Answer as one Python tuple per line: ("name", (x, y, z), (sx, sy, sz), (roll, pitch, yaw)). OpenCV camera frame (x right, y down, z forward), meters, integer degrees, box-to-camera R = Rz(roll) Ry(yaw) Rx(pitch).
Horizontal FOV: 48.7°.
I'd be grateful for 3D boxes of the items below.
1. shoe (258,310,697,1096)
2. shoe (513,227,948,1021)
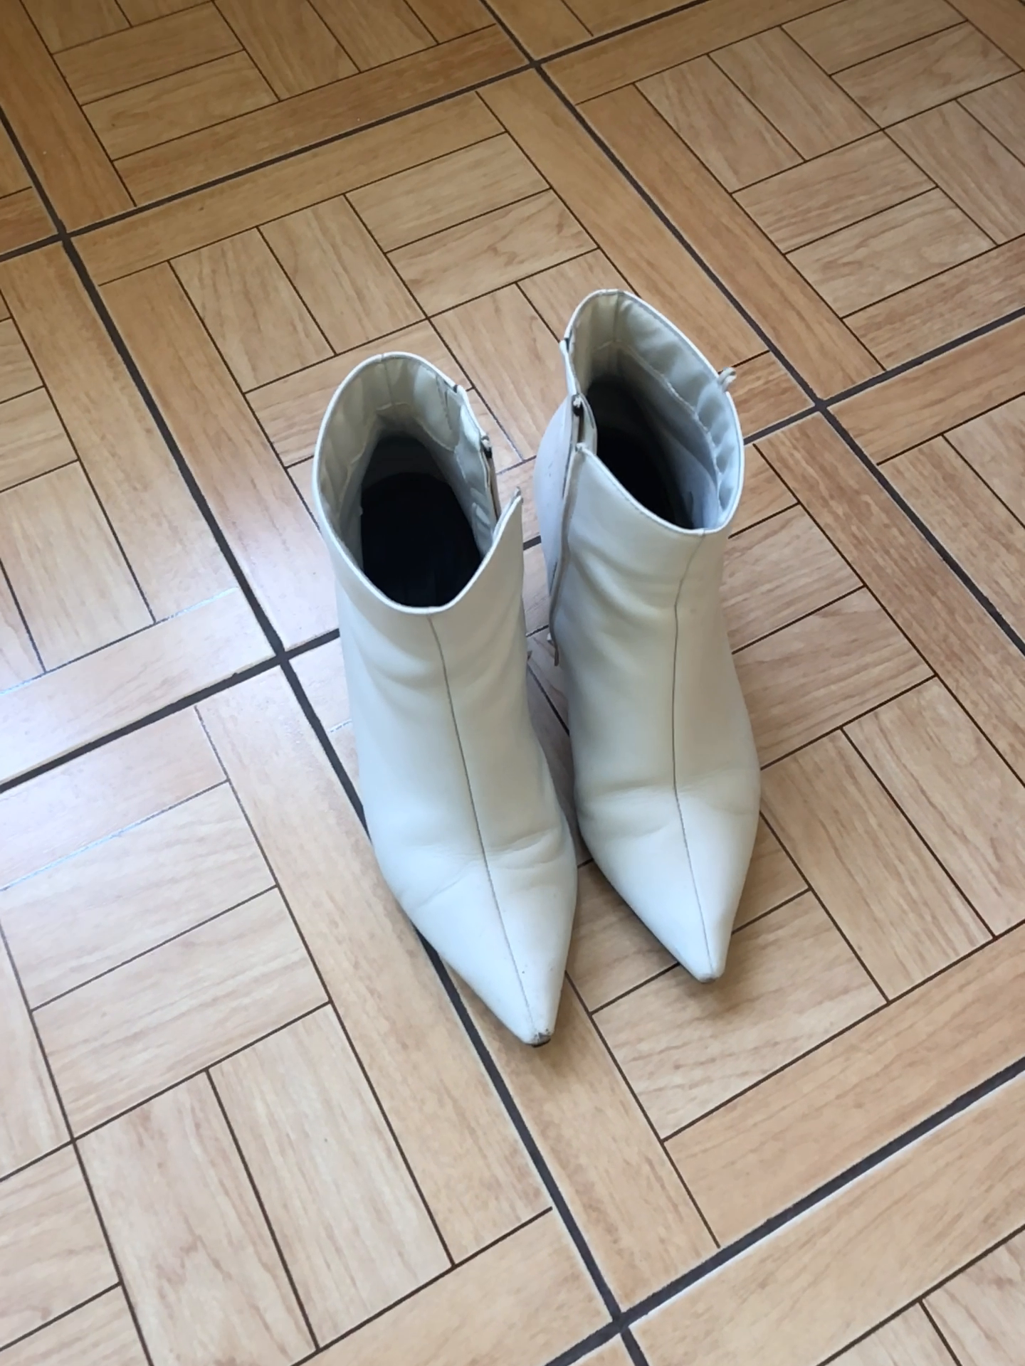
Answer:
("shoe", (-0.022, 0.012, 0.444), (0.100, 0.155, 0.254), (-10, 65, -5))
("shoe", (0.064, -0.021, 0.460), (0.100, 0.155, 0.274), (-5, 64, -3))
